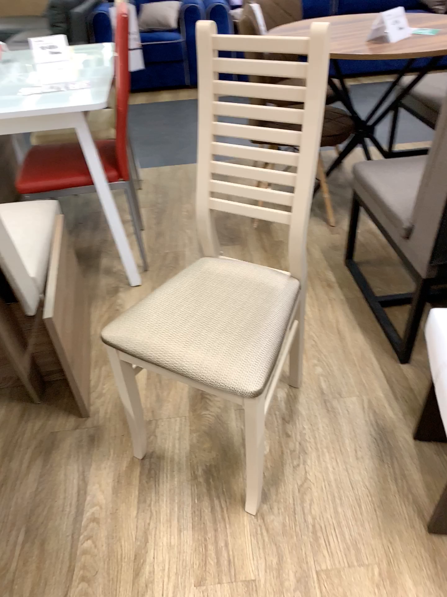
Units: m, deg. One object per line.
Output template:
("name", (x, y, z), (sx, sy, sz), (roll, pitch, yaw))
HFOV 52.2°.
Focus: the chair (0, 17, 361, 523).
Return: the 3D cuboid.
("chair", (-0.010, -0.034, 1.029), (0.390, 0.969, 0.475), (16, 42, 24))
